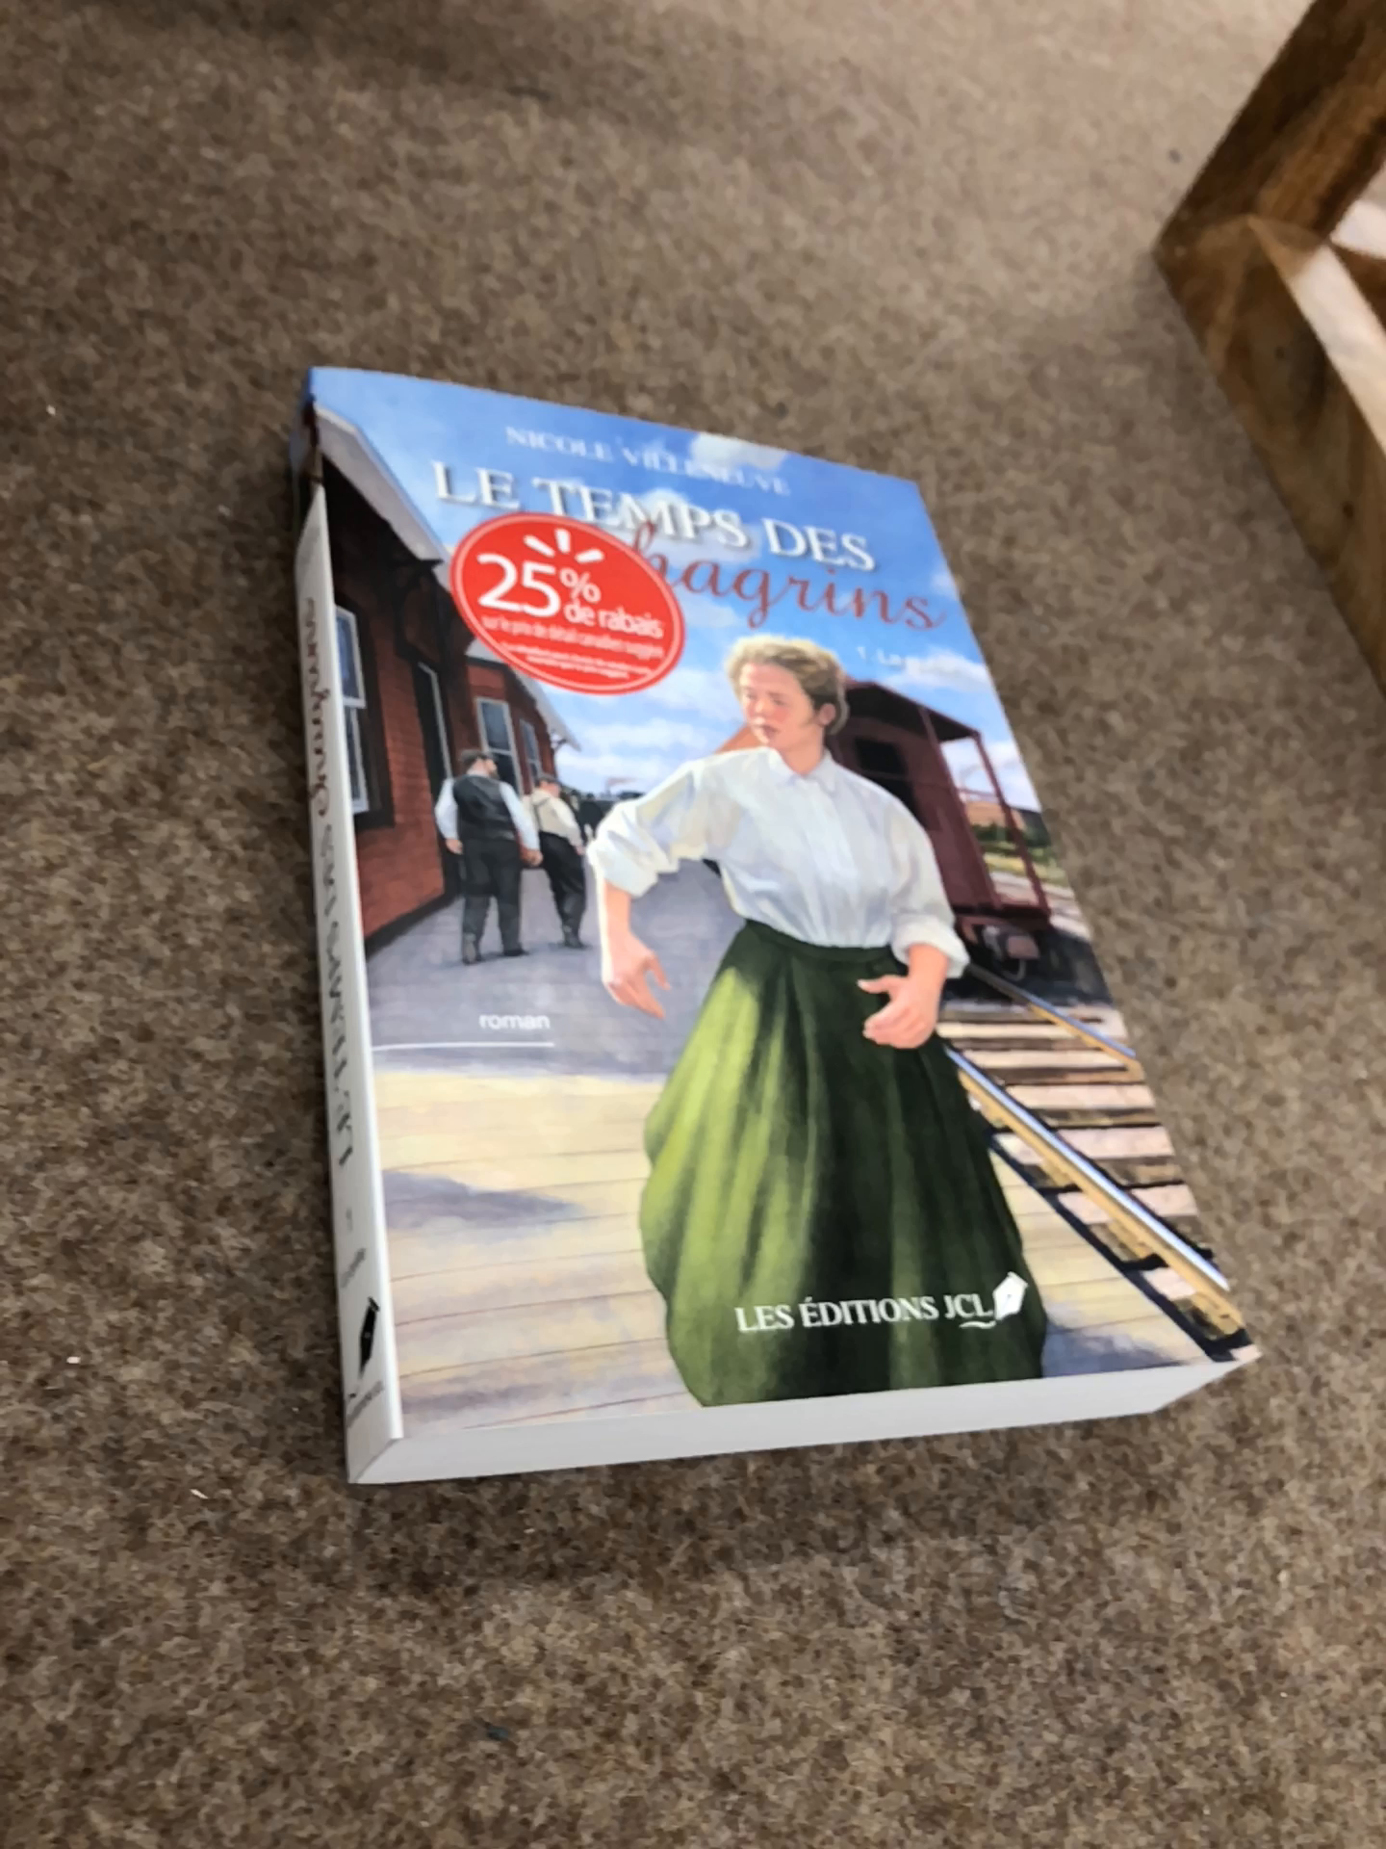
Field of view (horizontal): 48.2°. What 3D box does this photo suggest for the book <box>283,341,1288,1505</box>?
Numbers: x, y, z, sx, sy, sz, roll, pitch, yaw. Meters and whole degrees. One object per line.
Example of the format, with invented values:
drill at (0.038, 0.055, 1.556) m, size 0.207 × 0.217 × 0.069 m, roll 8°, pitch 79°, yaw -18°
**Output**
book at (0.005, -0.014, 0.303) m, size 0.155 × 0.030 × 0.225 m, roll 3°, pitch 55°, yaw -24°
